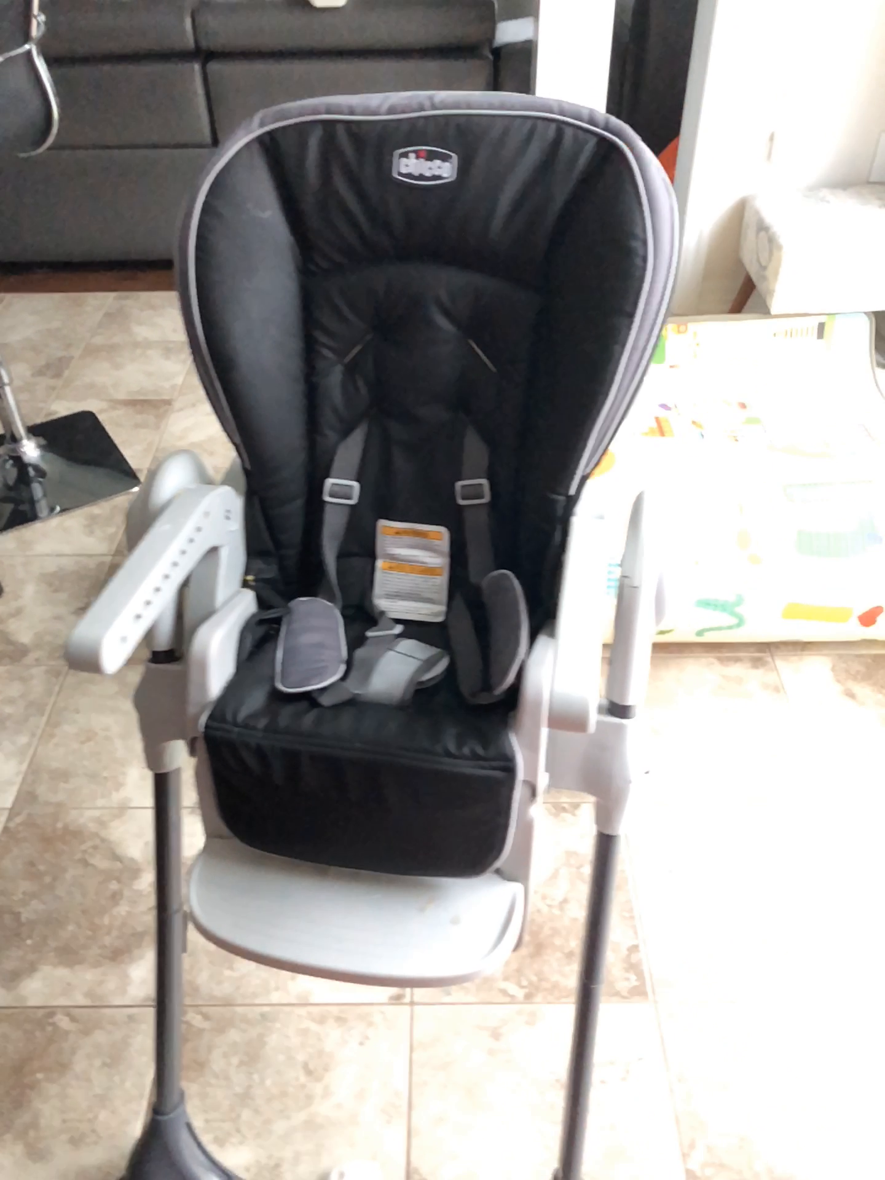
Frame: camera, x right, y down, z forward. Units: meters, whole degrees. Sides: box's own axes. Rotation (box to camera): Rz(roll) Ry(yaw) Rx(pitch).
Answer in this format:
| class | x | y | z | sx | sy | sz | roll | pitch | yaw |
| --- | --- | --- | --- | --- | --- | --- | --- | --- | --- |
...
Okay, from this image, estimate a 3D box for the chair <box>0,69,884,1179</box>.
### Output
| class | x | y | z | sx | sy | sz | roll | pitch | yaw |
| --- | --- | --- | --- | --- | --- | --- | --- | --- | --- |
| chair | -0.067 | 0.105 | 1.049 | 0.650 | 0.996 | 0.883 | 6 | 41 | 8 |
